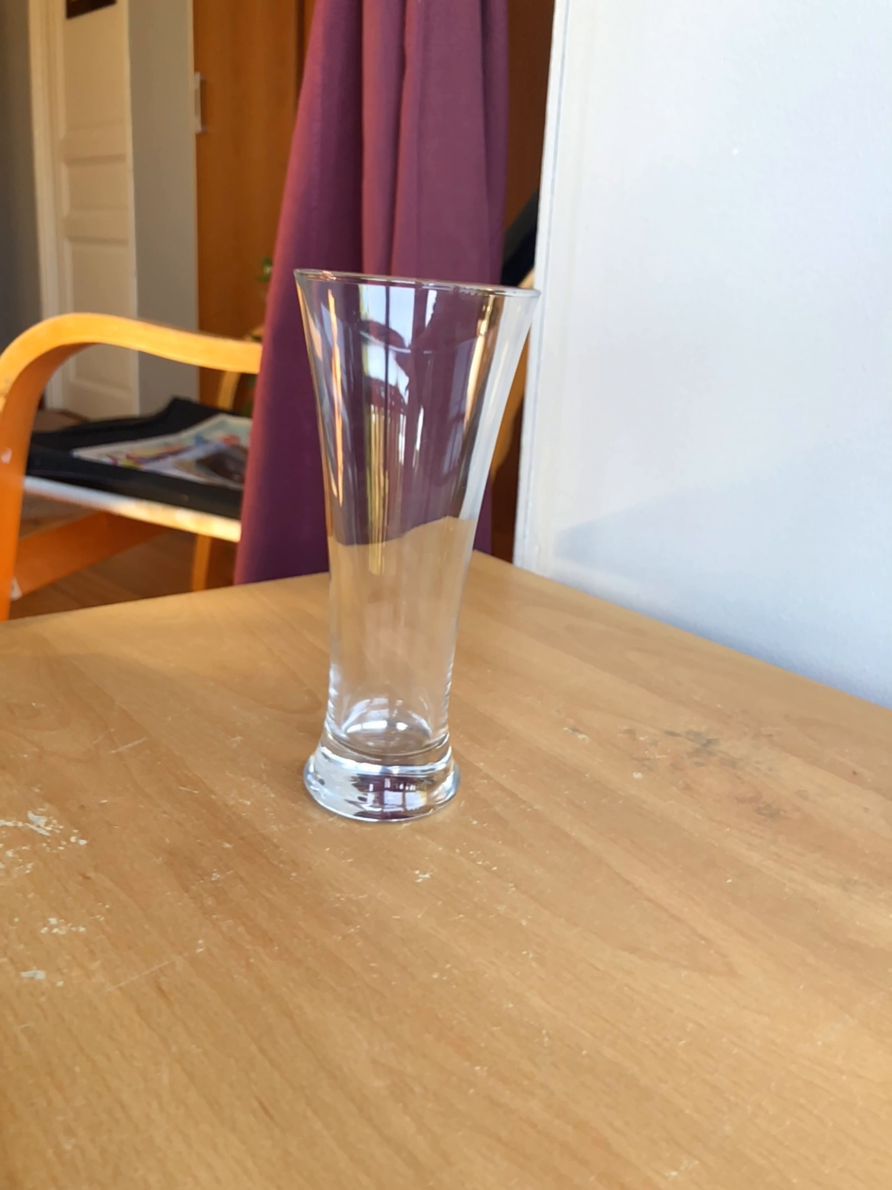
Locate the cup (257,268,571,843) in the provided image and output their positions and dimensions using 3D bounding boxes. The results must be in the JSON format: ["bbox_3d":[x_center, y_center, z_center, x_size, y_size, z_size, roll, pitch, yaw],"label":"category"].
[{"bbox_3d":[-0.013,-0.016,0.325,0.082,0.169,0.077,4,18,-1],"label":"cup"}]
